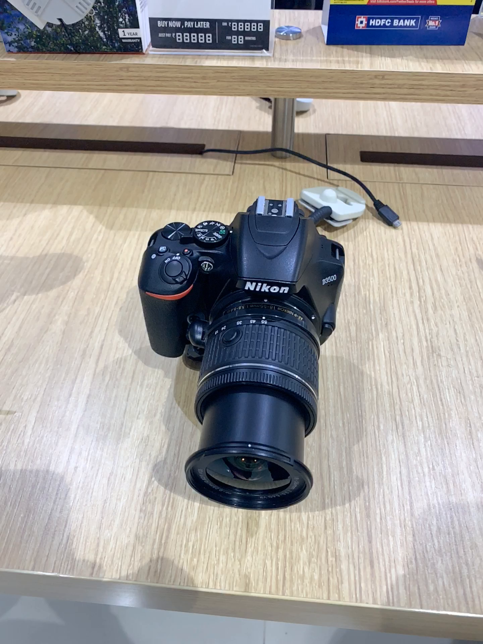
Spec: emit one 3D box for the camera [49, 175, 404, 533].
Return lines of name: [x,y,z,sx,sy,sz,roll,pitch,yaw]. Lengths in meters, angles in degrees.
camera: [-0.001,0.012,0.243,0.115,0.100,0.136,3,48,3]
